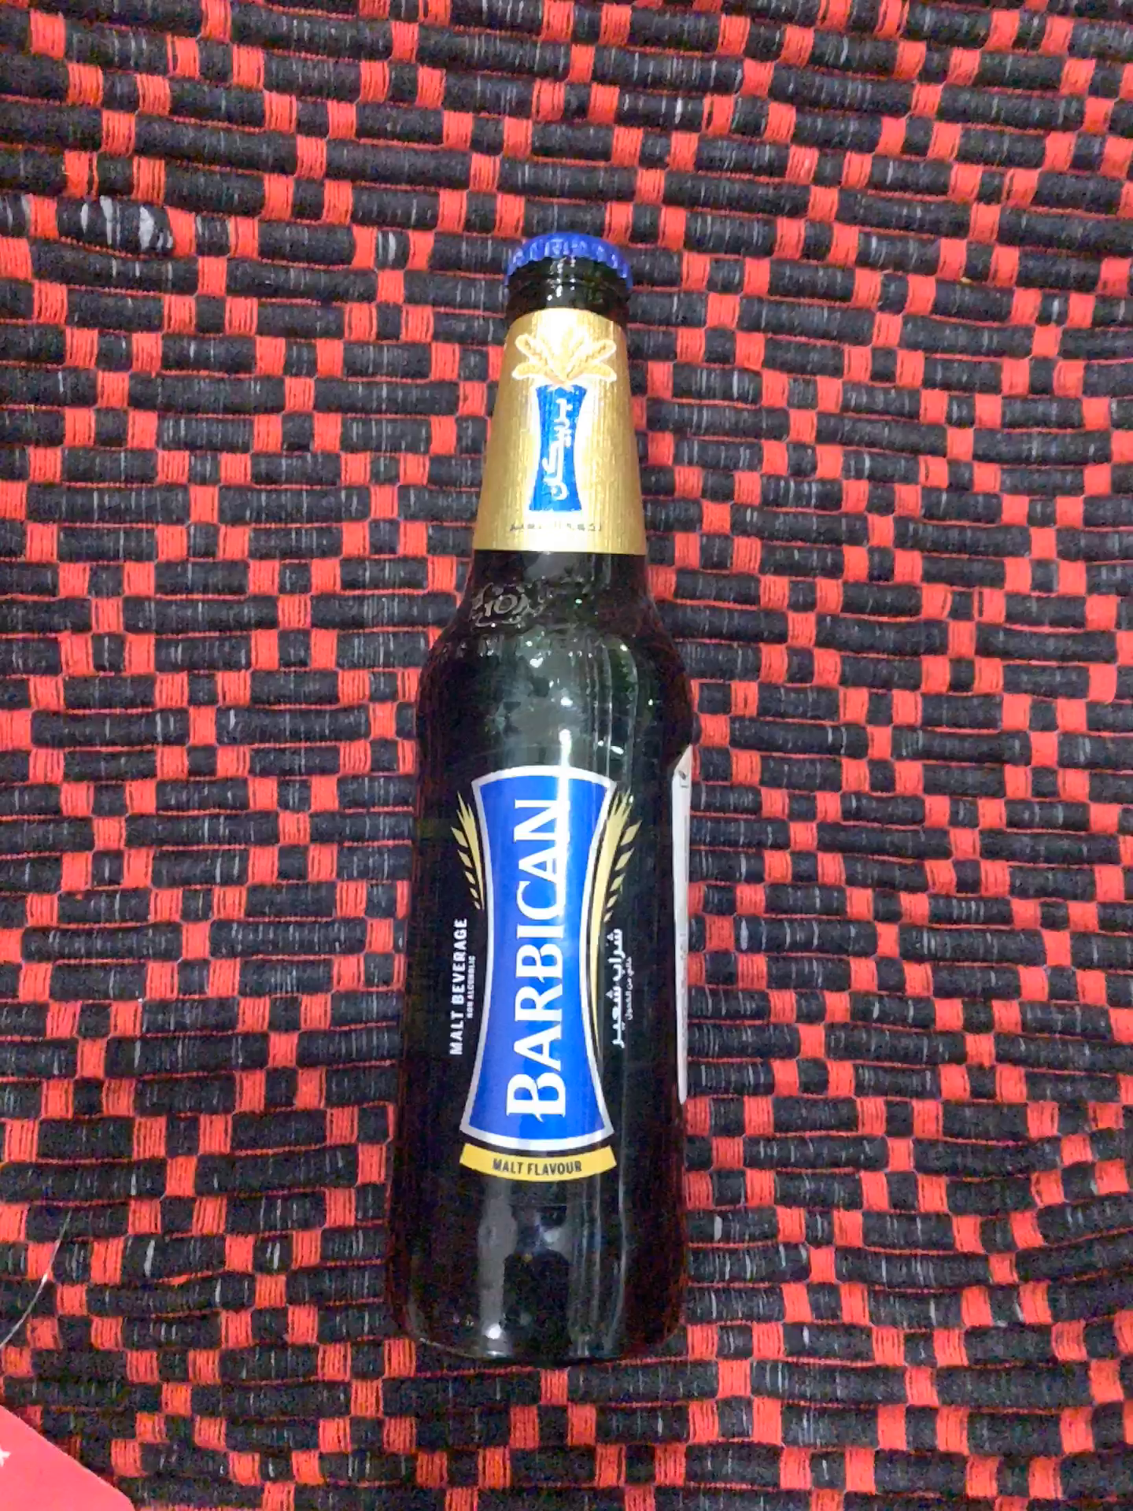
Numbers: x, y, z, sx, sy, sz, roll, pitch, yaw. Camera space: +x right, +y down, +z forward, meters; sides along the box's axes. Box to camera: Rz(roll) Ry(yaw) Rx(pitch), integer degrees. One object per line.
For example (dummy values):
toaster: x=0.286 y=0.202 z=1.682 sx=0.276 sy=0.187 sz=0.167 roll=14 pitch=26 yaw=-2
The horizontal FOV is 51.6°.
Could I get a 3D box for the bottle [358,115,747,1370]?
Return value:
bottle: x=-0.003 y=-0.005 z=0.226 sx=0.060 sy=0.060 sz=0.210 roll=3 pitch=80 yaw=-8
